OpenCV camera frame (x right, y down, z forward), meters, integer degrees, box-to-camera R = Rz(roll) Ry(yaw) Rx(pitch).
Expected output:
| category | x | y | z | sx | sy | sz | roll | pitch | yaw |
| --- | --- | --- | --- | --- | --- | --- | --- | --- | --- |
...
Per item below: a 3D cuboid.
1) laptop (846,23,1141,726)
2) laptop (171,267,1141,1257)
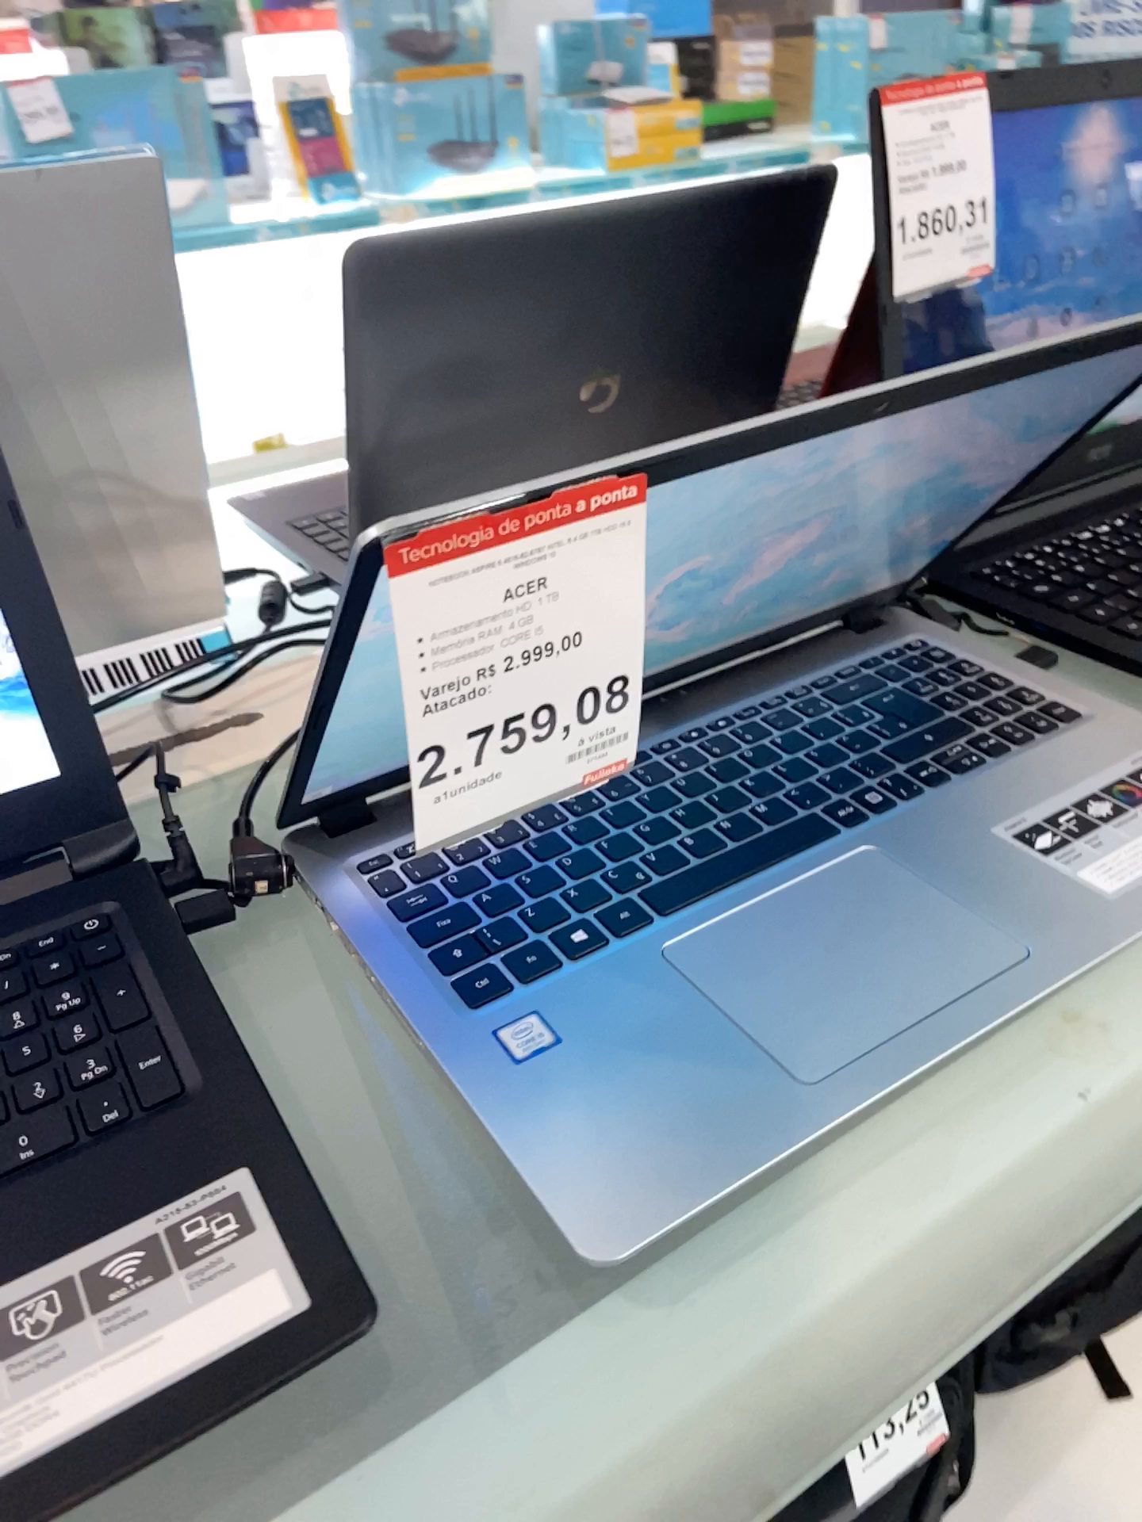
| category | x | y | z | sx | sy | sz | roll | pitch | yaw |
| --- | --- | --- | --- | --- | --- | --- | --- | --- | --- |
| laptop | 0.393 | -0.237 | 0.633 | 0.355 | 0.238 | 0.289 | -22 | 35 | -25 |
| laptop | 0.083 | -0.051 | 0.434 | 0.353 | 0.175 | 0.237 | -21 | 36 | -27 |
